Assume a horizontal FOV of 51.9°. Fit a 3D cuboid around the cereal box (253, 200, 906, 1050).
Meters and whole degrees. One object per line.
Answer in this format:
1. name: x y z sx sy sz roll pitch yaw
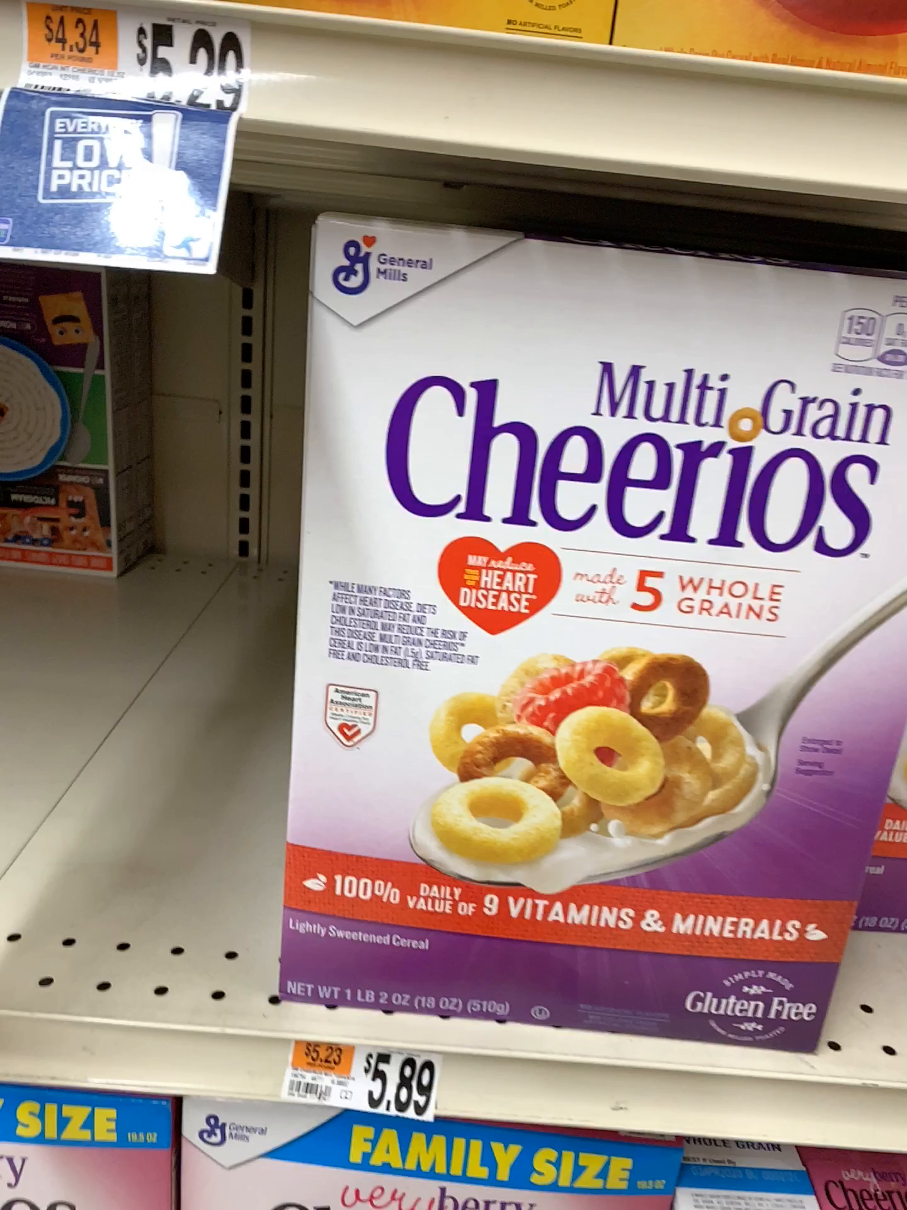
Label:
1. cereal box: 0.054 0.019 0.389 0.250 0.319 0.070 6 18 -1
